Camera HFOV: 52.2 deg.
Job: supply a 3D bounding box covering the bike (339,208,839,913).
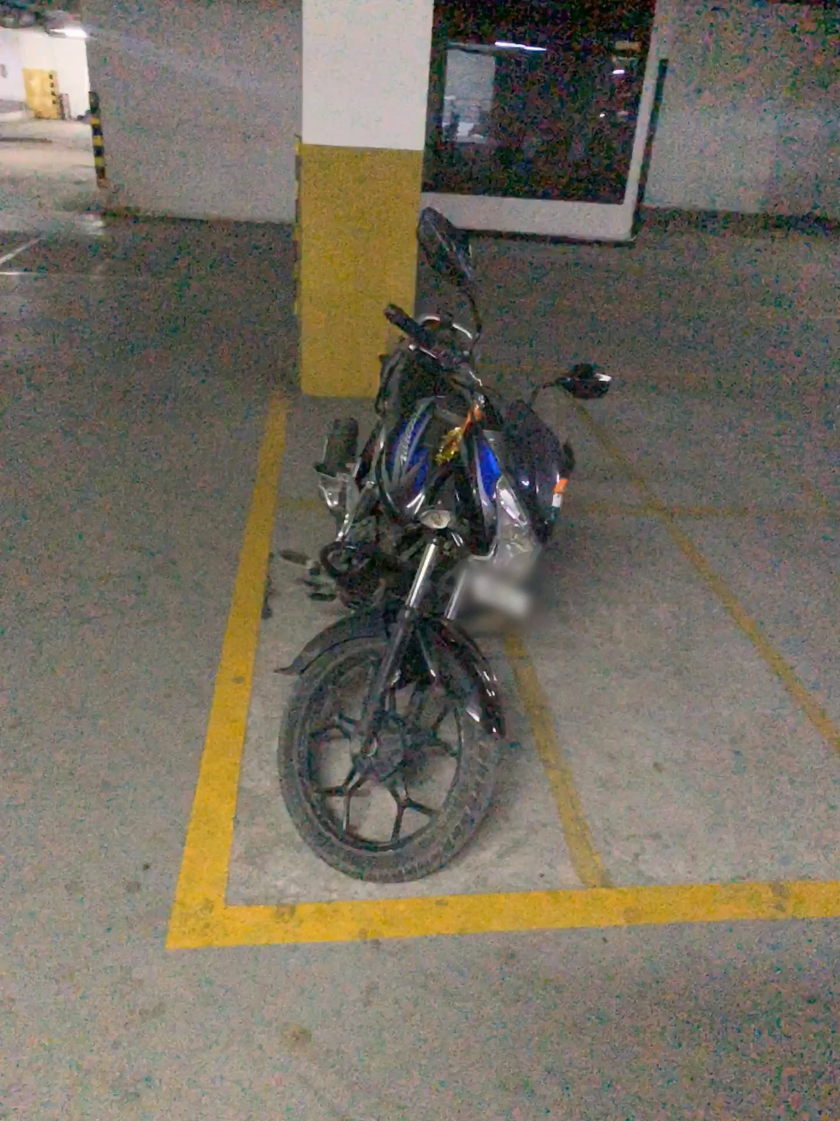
[{"bbox_3d":[0.286,-0.271,2.597,0.850,1.205,2.221,-1,28,-10],"label":"bike"}]
